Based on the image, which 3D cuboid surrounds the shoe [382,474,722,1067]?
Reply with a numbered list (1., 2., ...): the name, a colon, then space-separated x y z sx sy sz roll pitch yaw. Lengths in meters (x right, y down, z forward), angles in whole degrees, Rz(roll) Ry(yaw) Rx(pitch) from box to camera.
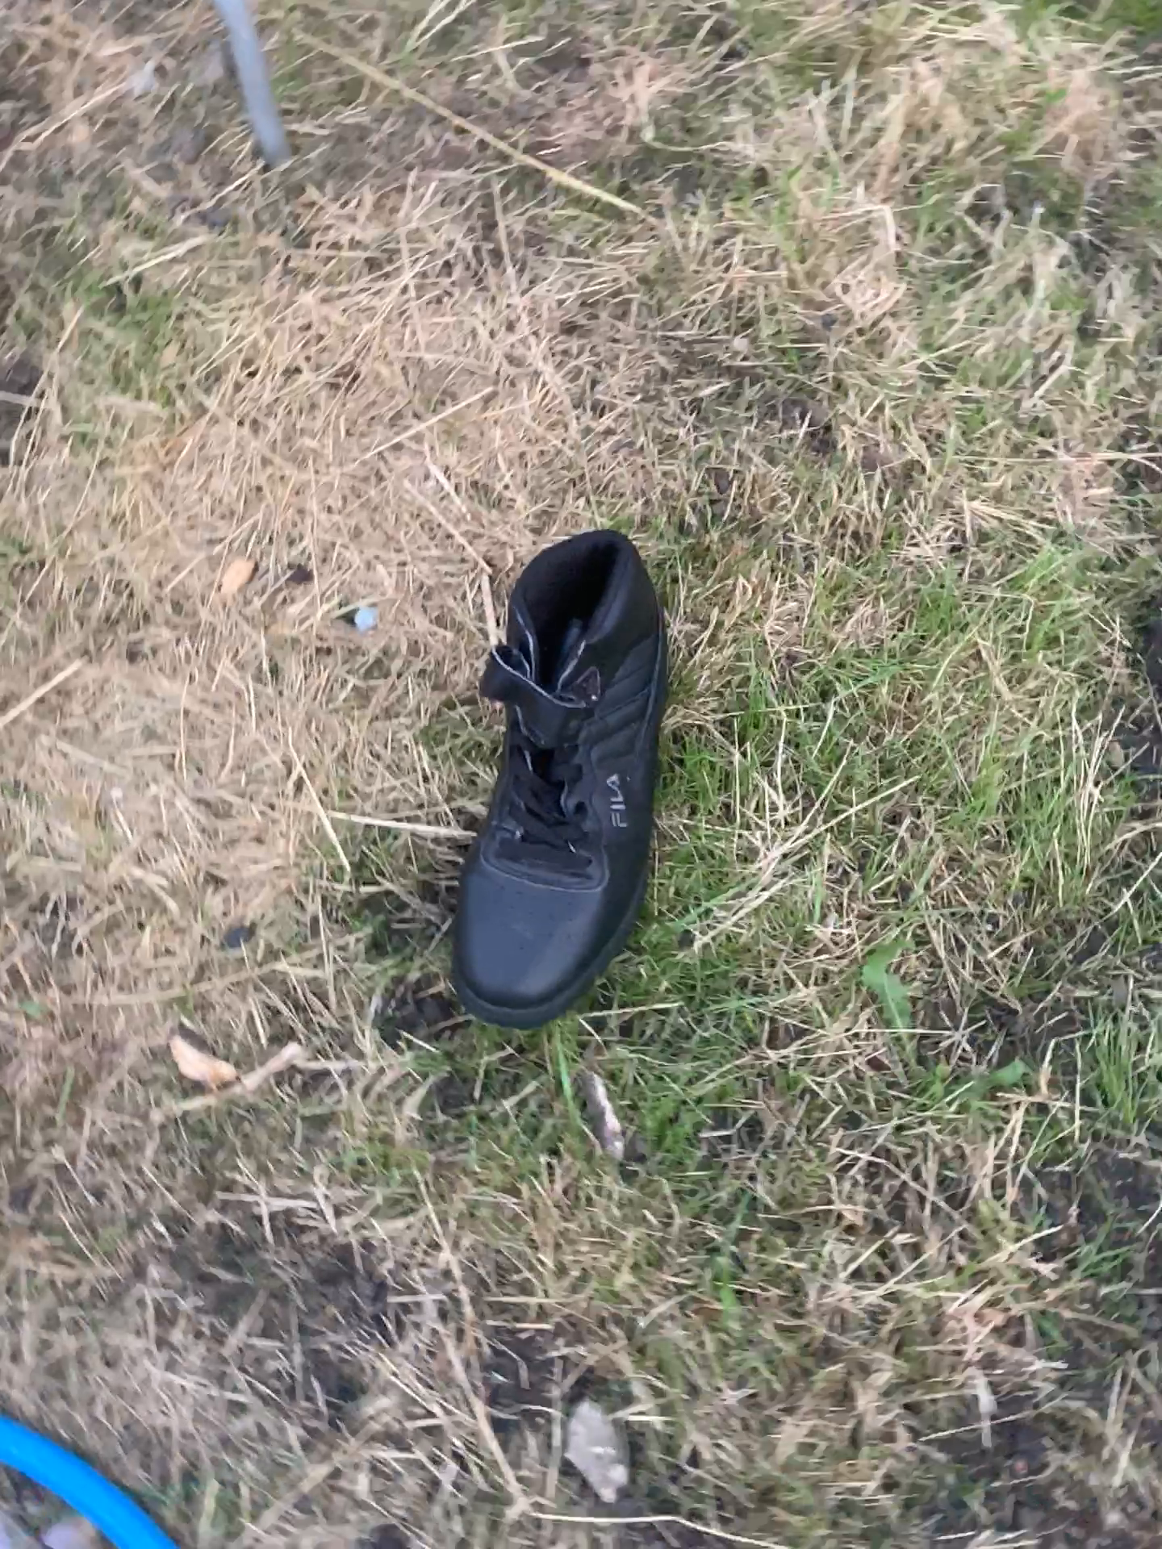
1. shoe: -0.008 0.002 0.613 0.100 0.139 0.261 12 69 4
